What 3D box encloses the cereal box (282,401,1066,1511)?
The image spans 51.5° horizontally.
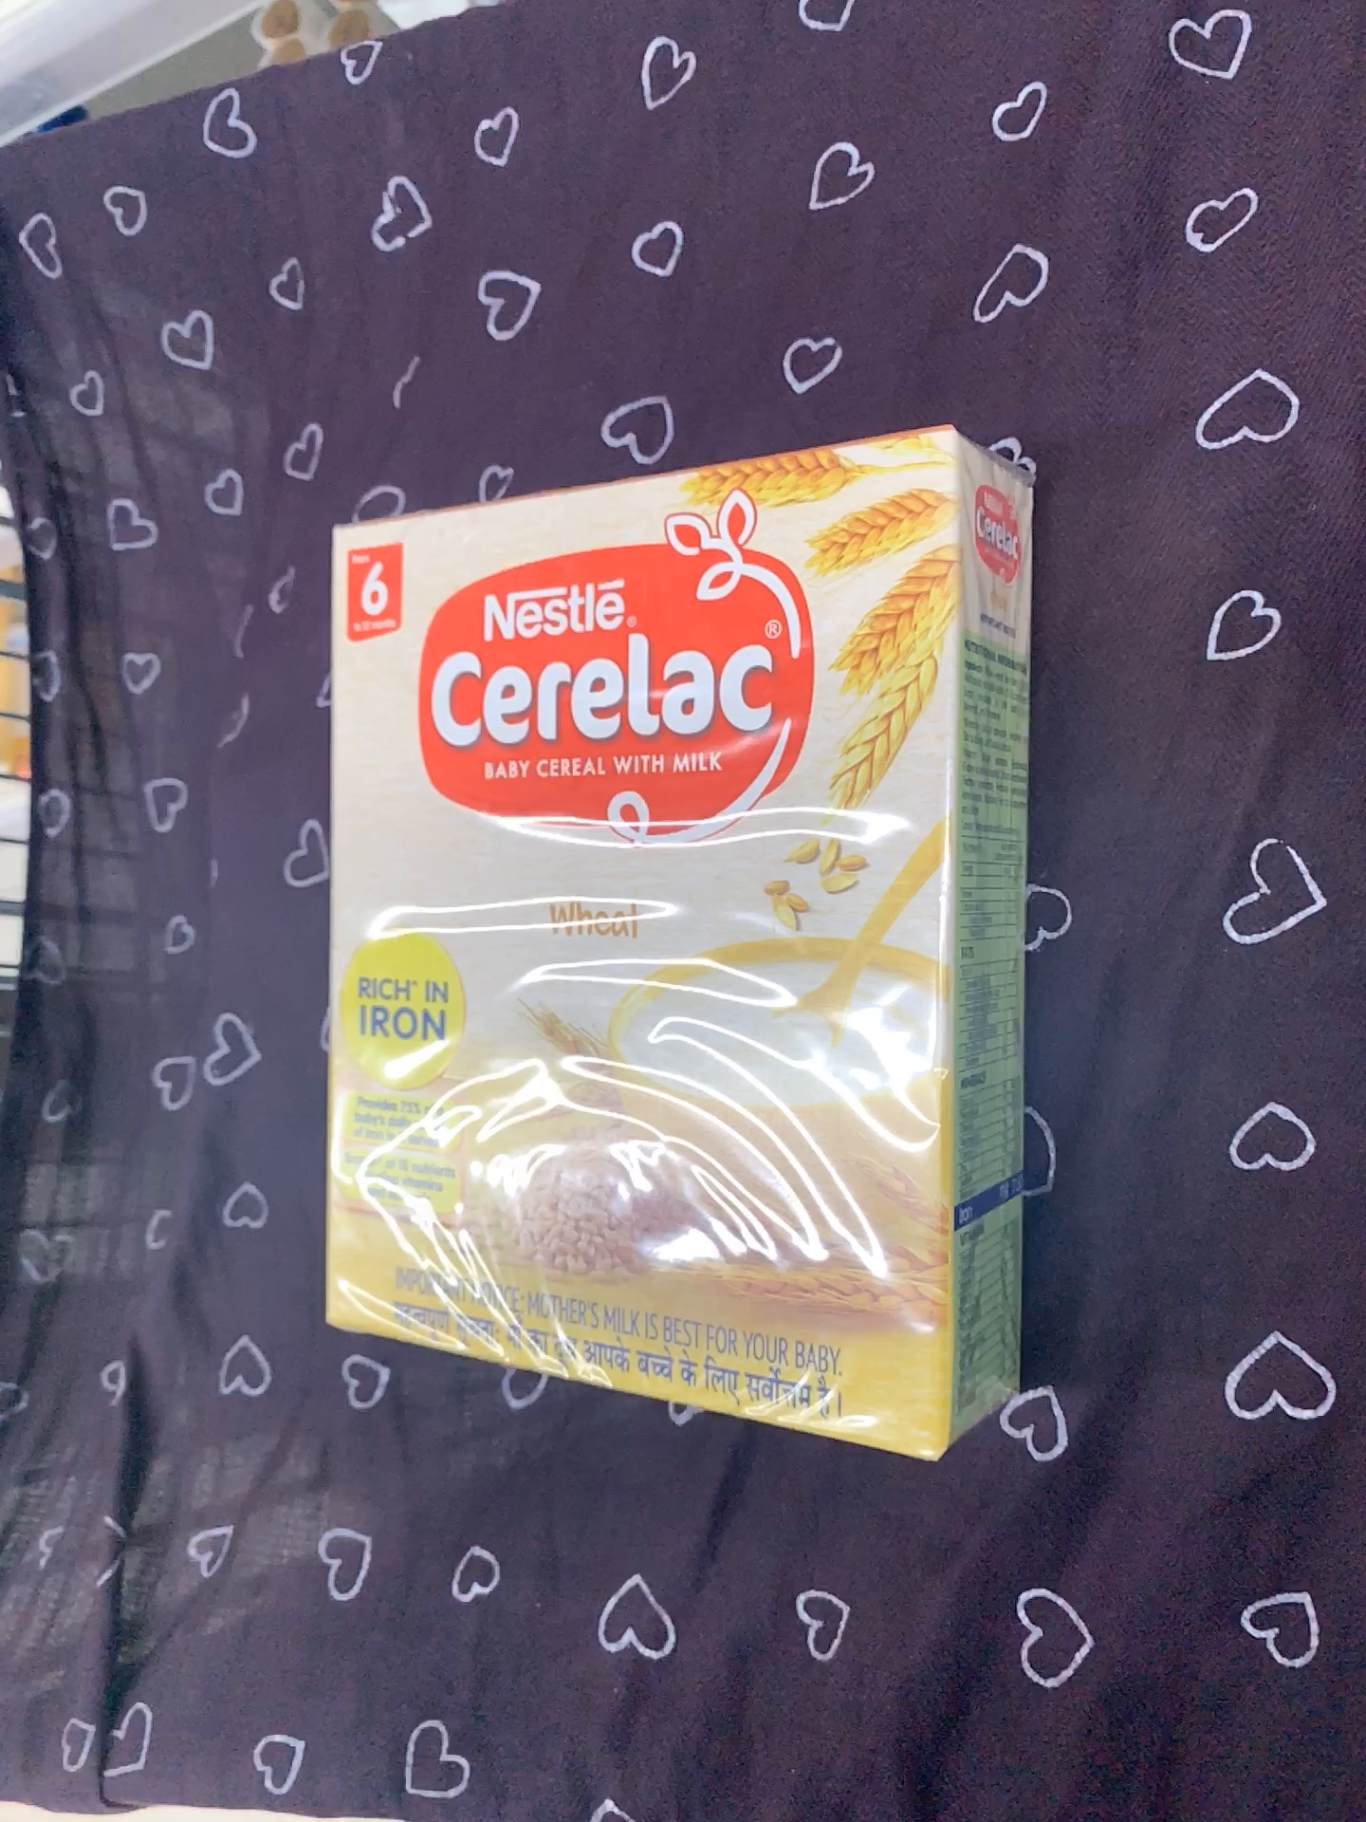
[{"bbox_3d":[-0.007,0.005,0.257,0.141,0.040,0.160,1,91,31],"label":"cereal box"}]
